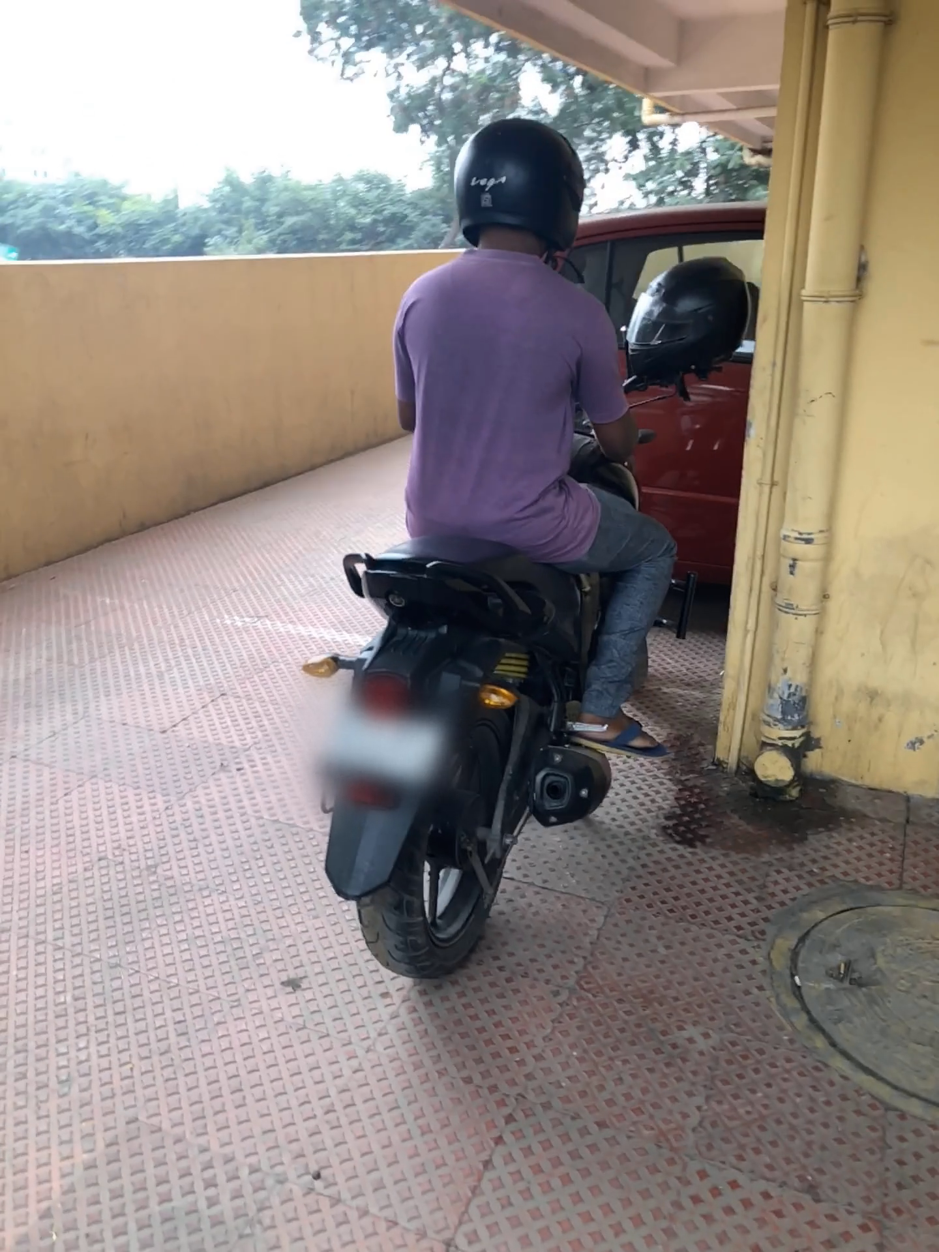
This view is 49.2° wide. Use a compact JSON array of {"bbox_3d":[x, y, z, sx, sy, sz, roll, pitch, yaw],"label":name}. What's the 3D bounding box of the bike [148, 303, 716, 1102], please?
[{"bbox_3d":[0.118,-0.110,2.572,0.852,1.156,1.916,5,22,13],"label":"bike"}]
